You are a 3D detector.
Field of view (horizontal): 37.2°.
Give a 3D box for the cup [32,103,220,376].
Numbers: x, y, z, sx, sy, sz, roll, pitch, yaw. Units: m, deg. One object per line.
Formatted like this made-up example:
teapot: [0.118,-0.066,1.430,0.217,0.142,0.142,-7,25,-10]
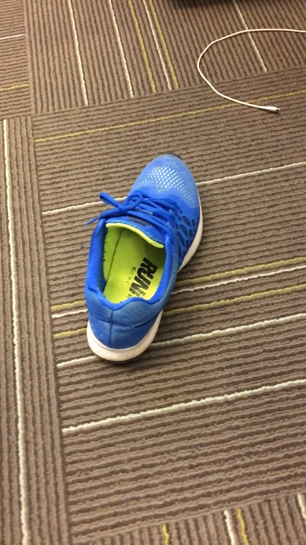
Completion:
cup: [-0.015,-0.049,0.544,0.130,0.100,0.300,11,63,10]
